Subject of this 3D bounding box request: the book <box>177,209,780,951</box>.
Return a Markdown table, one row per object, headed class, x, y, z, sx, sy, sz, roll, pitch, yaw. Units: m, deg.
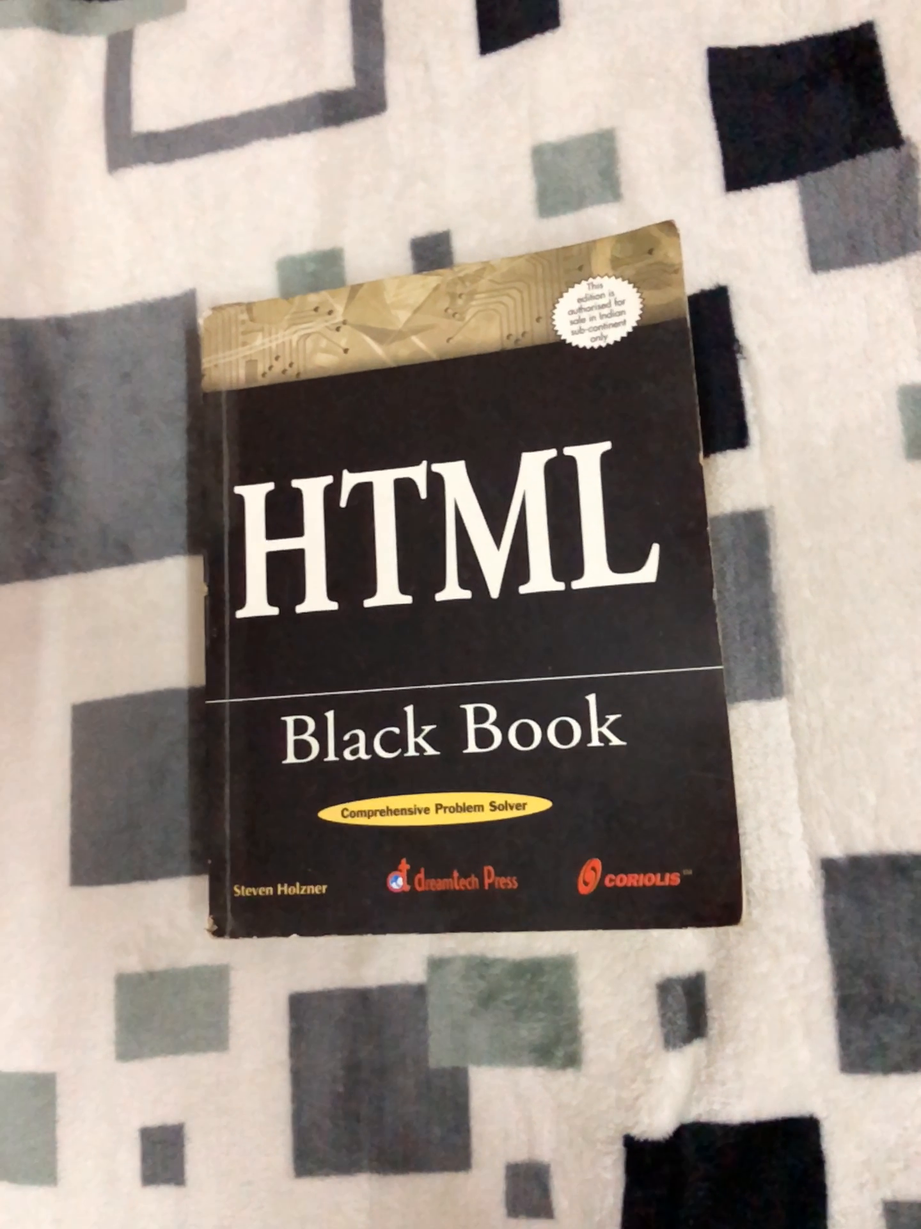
| class | x | y | z | sx | sy | sz | roll | pitch | yaw |
| --- | --- | --- | --- | --- | --- | --- | --- | --- | --- |
| book | 0.002 | -0.005 | 0.370 | 0.190 | 0.070 | 0.230 | -6 | 79 | 13 |
